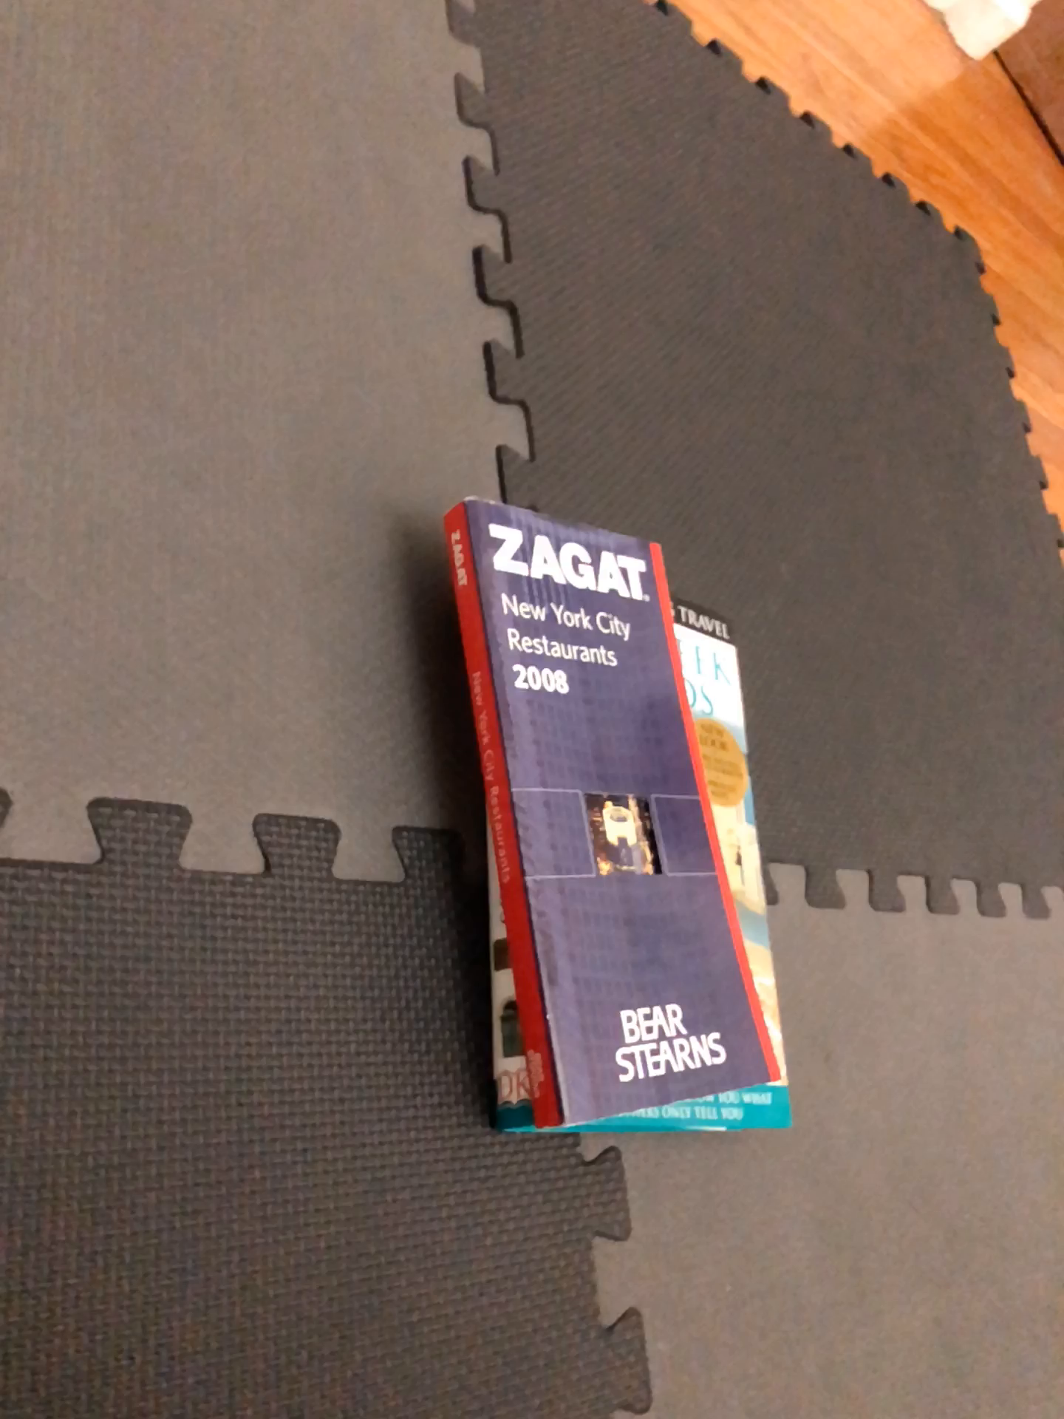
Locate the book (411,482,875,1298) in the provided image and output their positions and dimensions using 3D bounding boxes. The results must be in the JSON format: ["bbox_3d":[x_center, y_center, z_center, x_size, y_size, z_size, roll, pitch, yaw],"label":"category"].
[{"bbox_3d":[0.041,0.059,0.437,0.170,0.030,0.261,12,64,-40],"label":"book"}]

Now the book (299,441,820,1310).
[{"bbox_3d":[0.012,0.040,0.392,0.150,0.020,0.250,1,71,-44],"label":"book"}]
